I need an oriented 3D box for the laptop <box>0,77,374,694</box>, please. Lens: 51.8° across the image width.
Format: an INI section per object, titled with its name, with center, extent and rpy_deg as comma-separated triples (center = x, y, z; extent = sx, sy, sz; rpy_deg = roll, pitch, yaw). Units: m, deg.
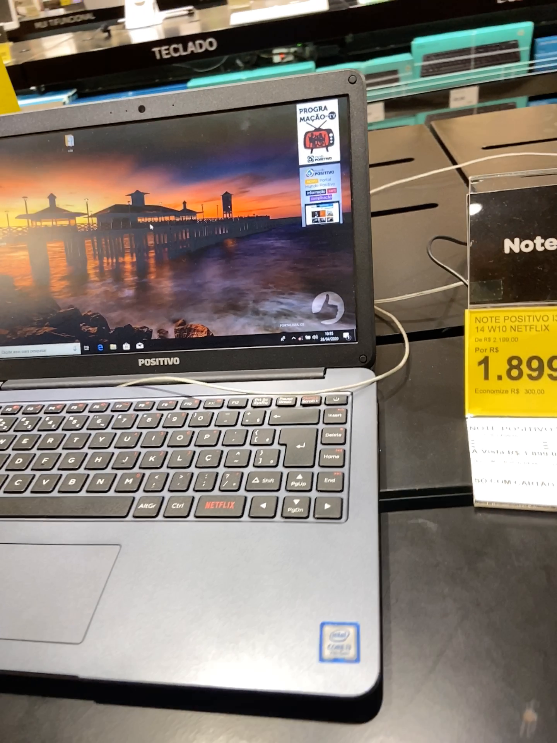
[laptop]
center = -0.114, -0.031, 0.354
extent = 0.332, 0.172, 0.343
rpy_deg = -2, 37, 11
